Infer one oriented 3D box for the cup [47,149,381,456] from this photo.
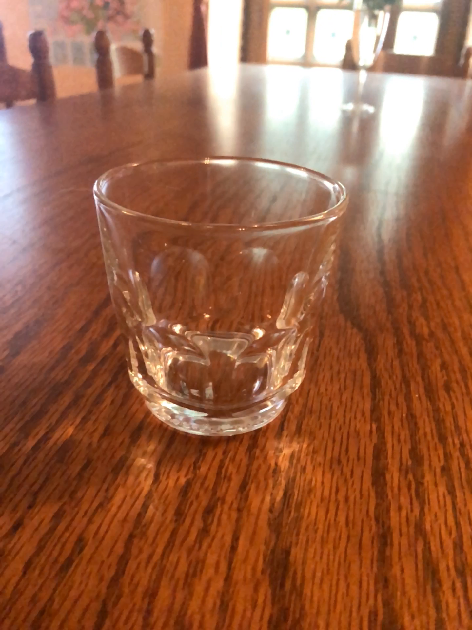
[{"bbox_3d":[-0.003,-0.011,0.182,0.083,0.069,0.083,2,28,-1],"label":"cup"}]
